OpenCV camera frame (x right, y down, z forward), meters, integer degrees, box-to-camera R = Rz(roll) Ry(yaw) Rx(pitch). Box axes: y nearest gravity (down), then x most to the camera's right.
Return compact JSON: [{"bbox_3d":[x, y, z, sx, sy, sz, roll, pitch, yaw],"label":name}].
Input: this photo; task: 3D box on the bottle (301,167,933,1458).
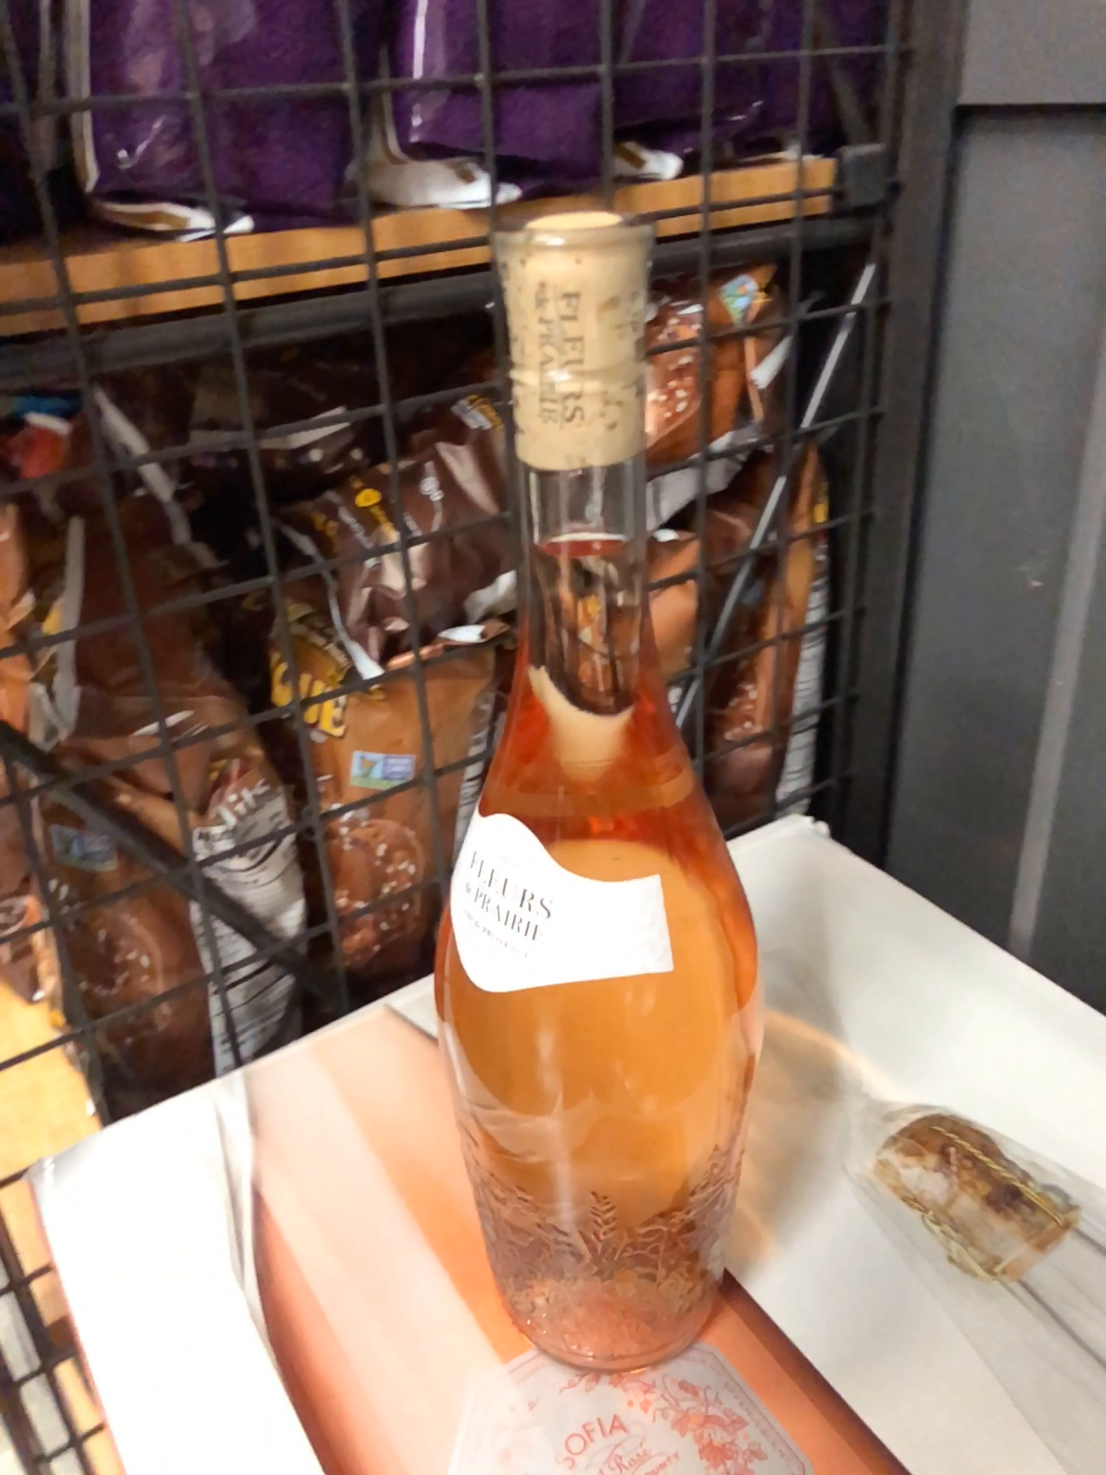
[{"bbox_3d":[0.020,0.027,0.302,0.090,0.299,0.080,-26,35,-36],"label":"bottle"}]
